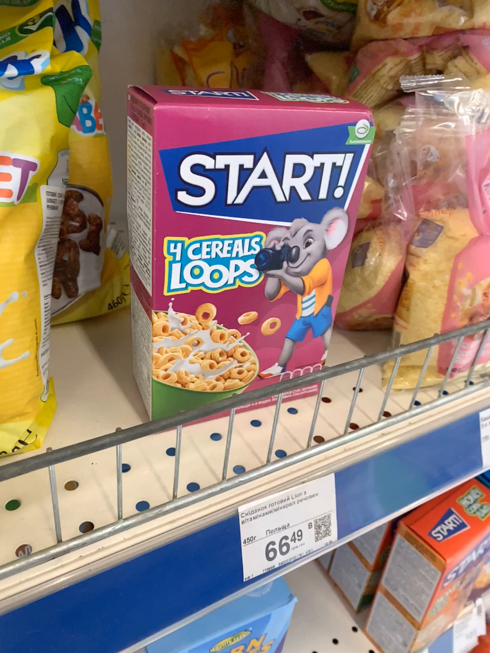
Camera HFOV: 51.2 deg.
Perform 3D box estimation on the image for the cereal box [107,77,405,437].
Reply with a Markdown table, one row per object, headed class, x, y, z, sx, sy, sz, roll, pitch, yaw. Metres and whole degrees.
| class | x | y | z | sx | sy | sz | roll | pitch | yaw |
| --- | --- | --- | --- | --- | --- | --- | --- | --- | --- |
| cereal box | -0.001 | -0.034 | 0.262 | 0.120 | 0.159 | 0.050 | -9 | 35 | -24 |
